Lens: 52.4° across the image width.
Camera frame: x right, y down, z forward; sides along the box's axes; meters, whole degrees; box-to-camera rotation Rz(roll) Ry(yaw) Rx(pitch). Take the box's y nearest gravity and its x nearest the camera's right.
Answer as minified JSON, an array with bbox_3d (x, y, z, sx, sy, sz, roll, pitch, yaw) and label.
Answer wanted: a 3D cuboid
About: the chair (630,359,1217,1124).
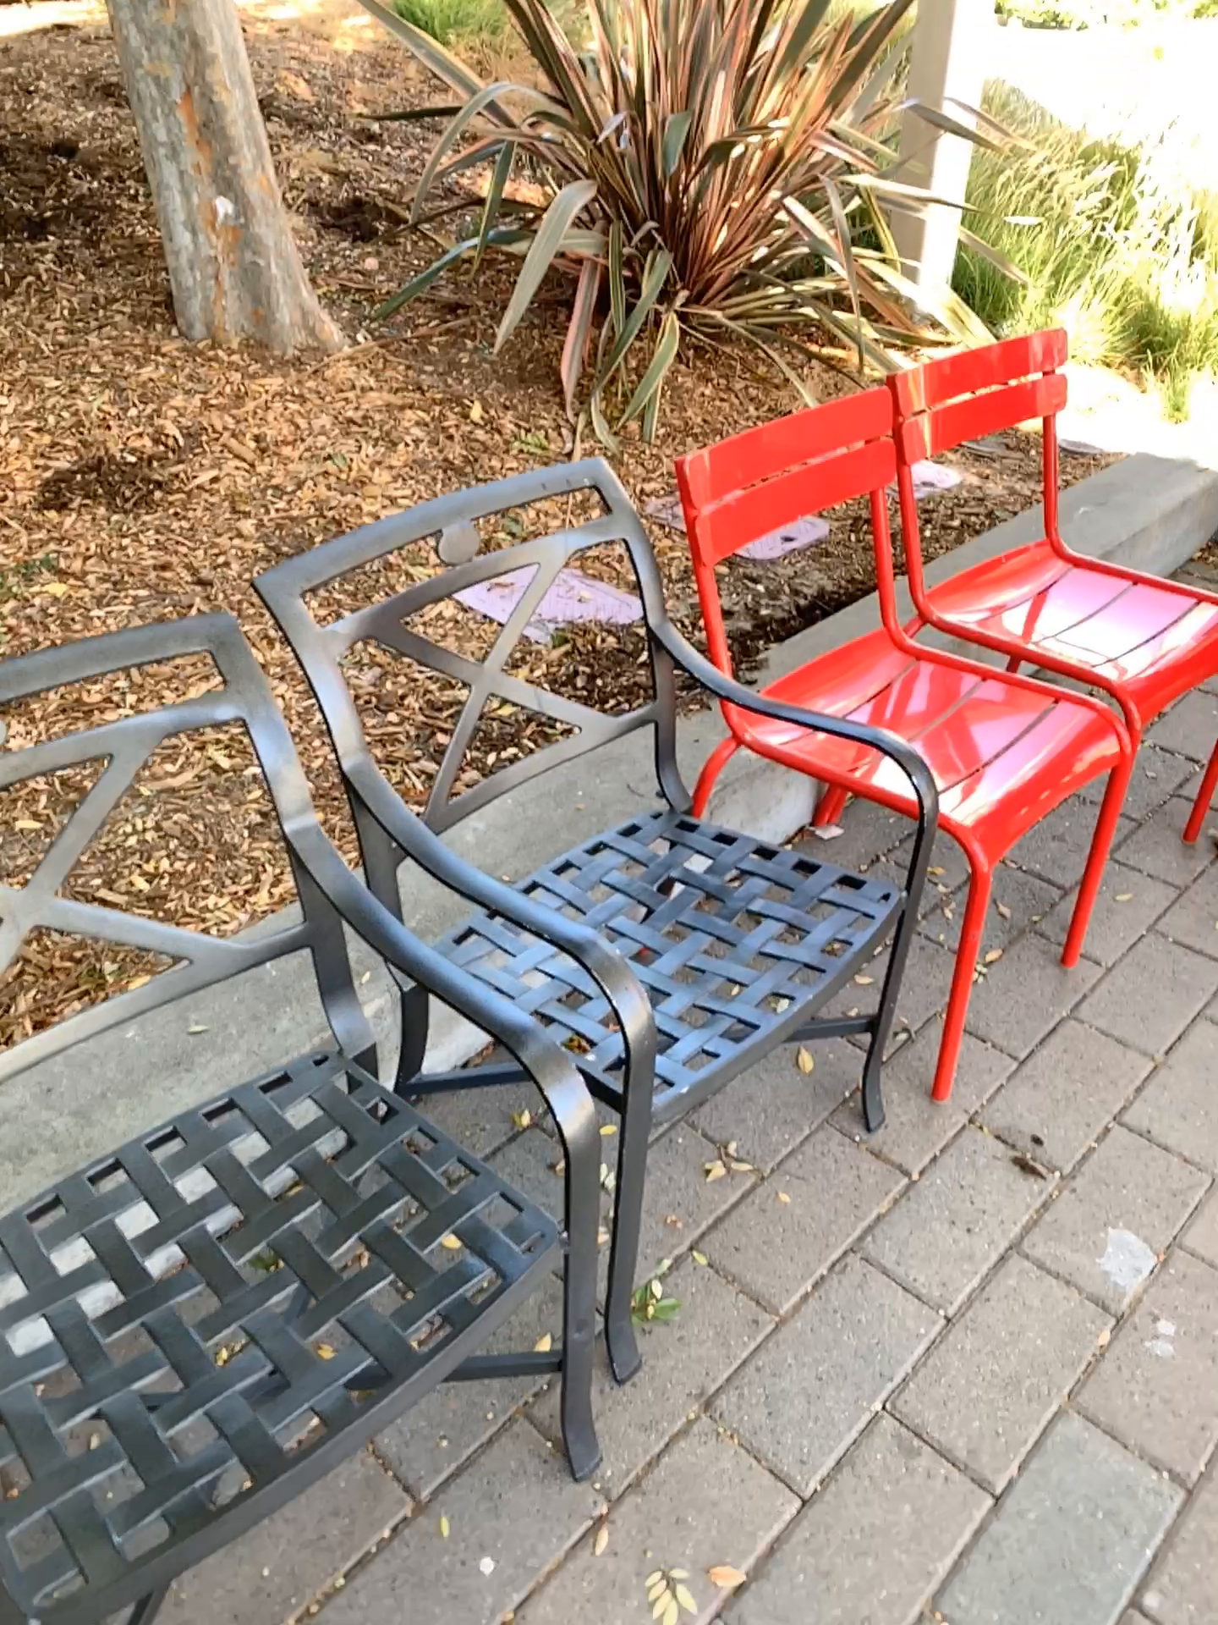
[{"bbox_3d":[0.485,-0.150,1.892,0.643,0.815,0.621,29,44,35],"label":"chair"}]

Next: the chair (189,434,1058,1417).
[{"bbox_3d":[0.007,0.082,1.551,0.693,0.815,0.621,29,44,35],"label":"chair"}]

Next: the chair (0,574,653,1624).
[{"bbox_3d":[-0.434,0.349,1.167,0.693,0.815,0.621,29,44,35],"label":"chair"}]
